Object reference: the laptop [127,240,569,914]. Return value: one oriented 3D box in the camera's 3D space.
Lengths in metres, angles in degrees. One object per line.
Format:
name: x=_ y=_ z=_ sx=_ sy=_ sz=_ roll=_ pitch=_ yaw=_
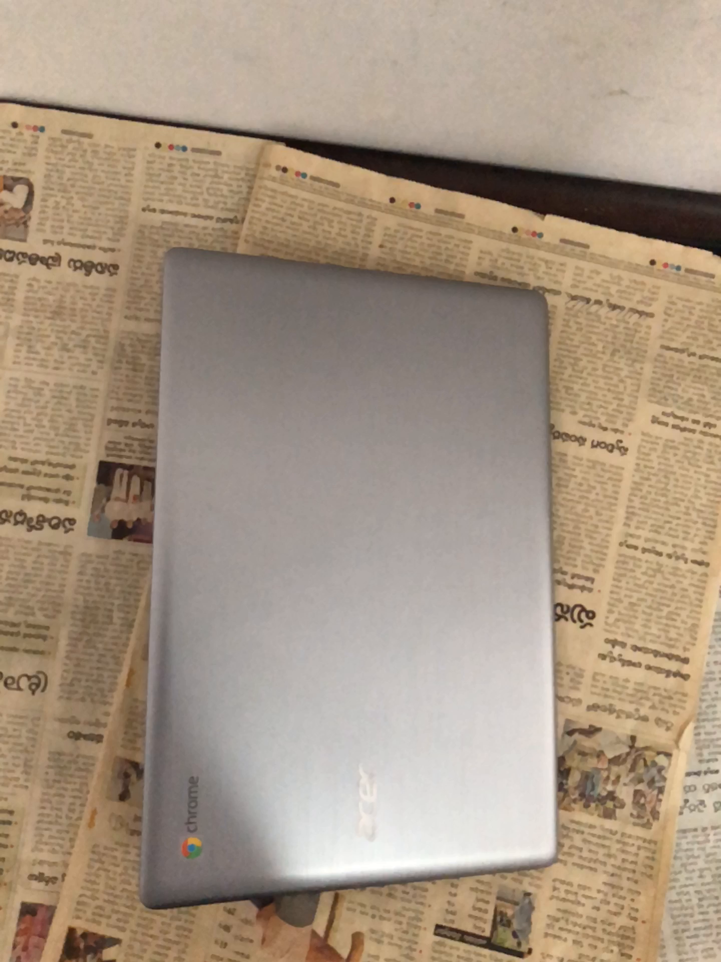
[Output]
laptop: x=-0.004 y=0.043 z=0.433 sx=0.210 sy=0.058 sz=0.330 roll=1 pitch=82 yaw=-1
